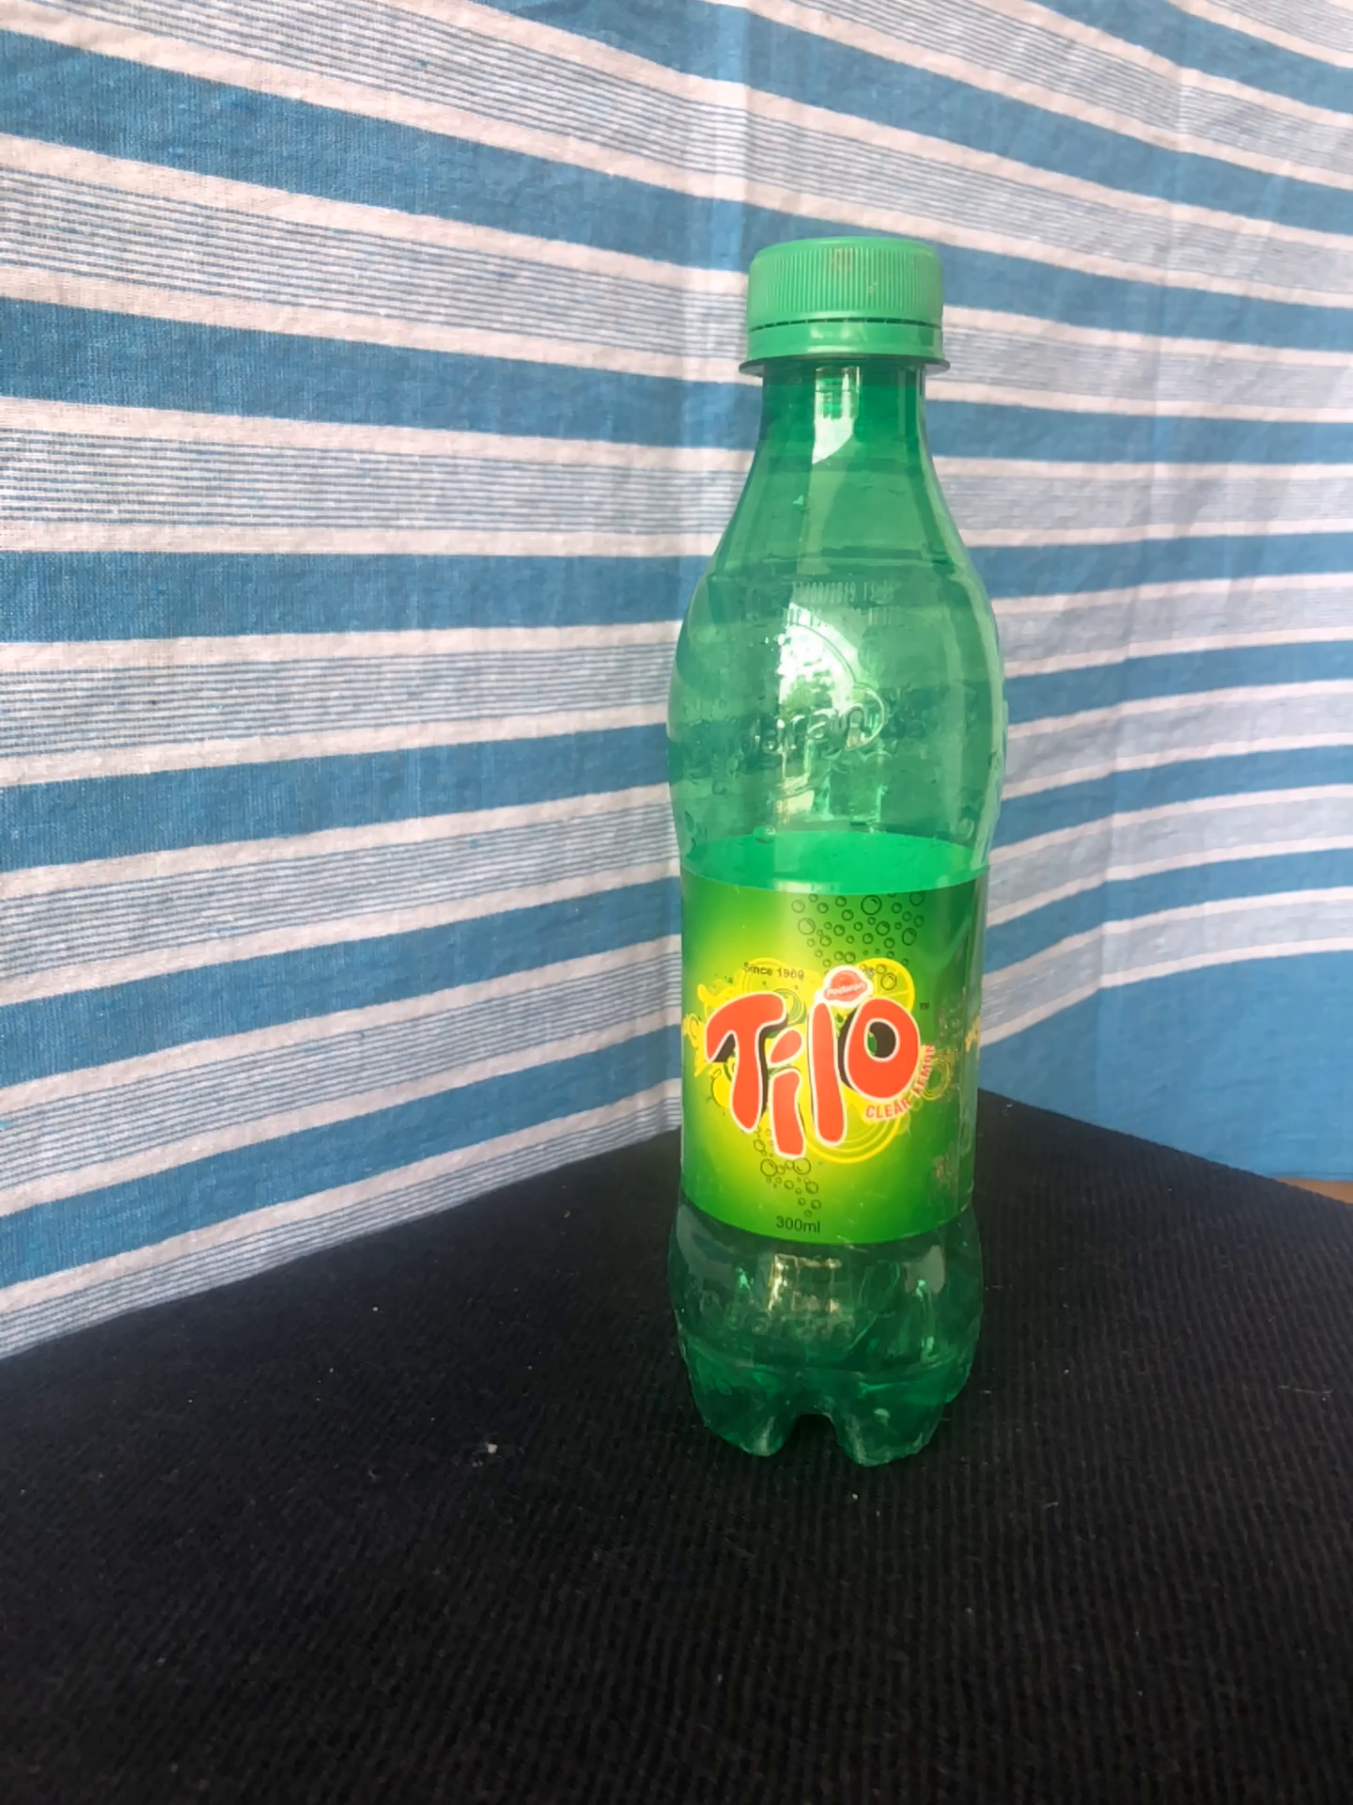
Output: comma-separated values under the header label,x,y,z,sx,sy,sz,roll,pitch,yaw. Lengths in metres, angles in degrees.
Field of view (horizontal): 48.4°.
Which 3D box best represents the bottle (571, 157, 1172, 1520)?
label,x,y,z,sx,sy,sz,roll,pitch,yaw
bottle,0.023,-0.007,0.256,0.070,0.199,0.070,3,12,-1
